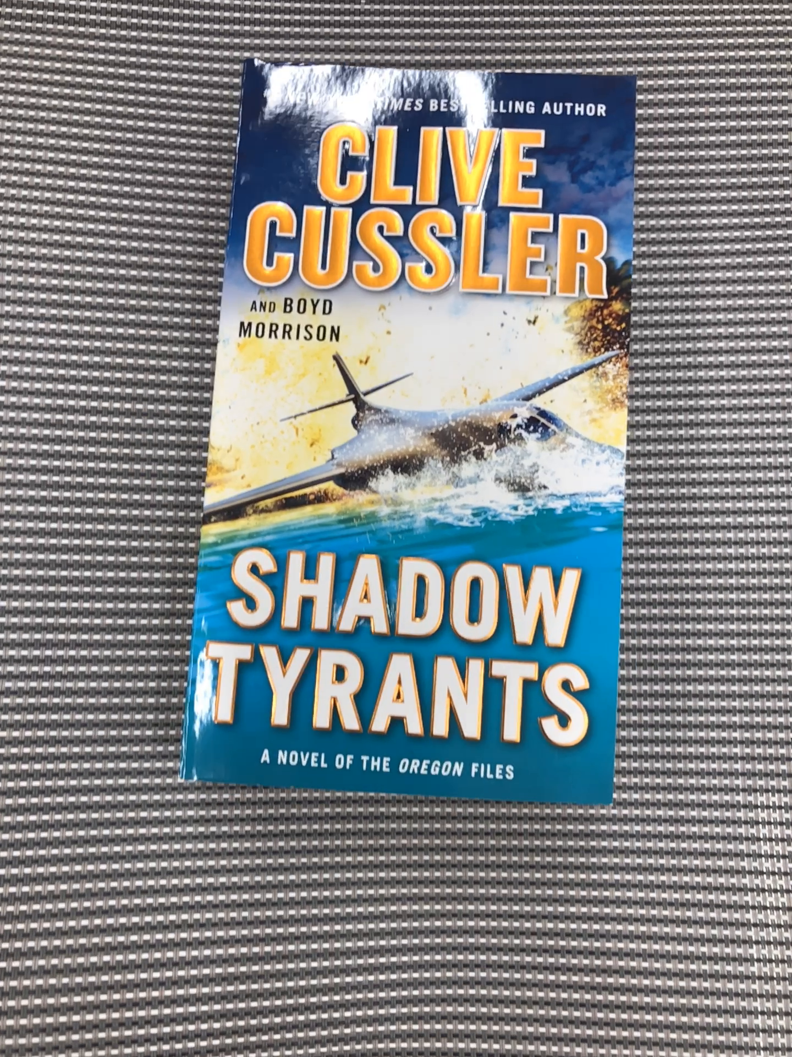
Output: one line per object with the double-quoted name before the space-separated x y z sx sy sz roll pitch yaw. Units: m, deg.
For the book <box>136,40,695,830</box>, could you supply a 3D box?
"book" 0.008 -0.023 0.234 0.120 0.060 0.180 3 82 -1
